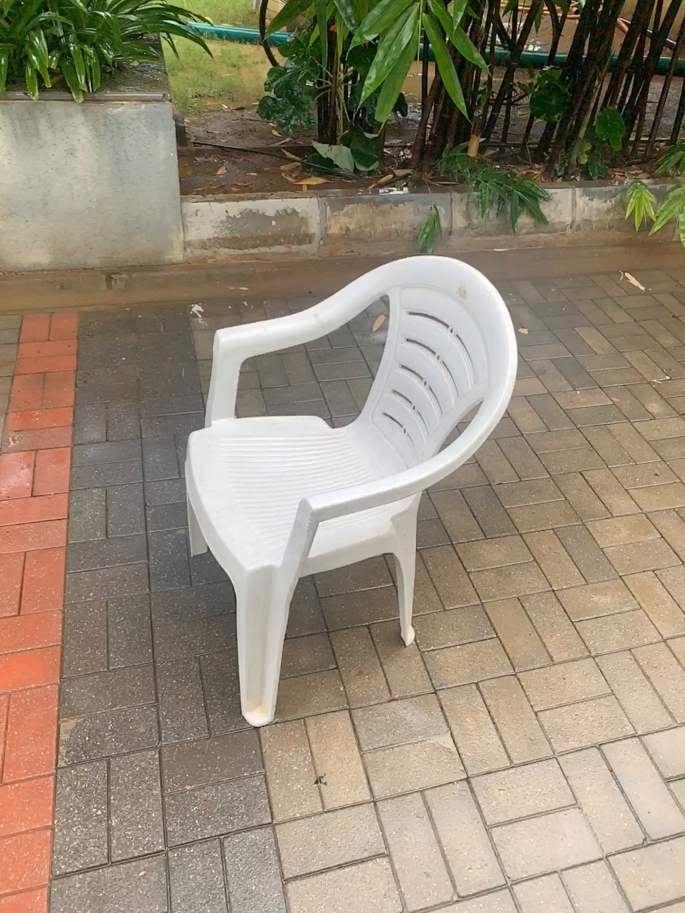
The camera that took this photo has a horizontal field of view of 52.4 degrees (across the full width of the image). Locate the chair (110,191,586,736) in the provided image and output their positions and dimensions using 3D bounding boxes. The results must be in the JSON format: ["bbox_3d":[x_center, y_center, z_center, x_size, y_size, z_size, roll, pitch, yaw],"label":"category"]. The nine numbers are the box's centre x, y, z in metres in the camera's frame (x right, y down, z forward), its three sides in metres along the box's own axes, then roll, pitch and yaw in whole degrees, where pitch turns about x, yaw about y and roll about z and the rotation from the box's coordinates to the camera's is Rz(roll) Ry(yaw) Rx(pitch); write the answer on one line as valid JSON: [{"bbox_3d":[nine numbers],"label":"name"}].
[{"bbox_3d":[-0.049,0.003,1.354,0.570,0.777,0.562,-14,45,-20],"label":"chair"}]
